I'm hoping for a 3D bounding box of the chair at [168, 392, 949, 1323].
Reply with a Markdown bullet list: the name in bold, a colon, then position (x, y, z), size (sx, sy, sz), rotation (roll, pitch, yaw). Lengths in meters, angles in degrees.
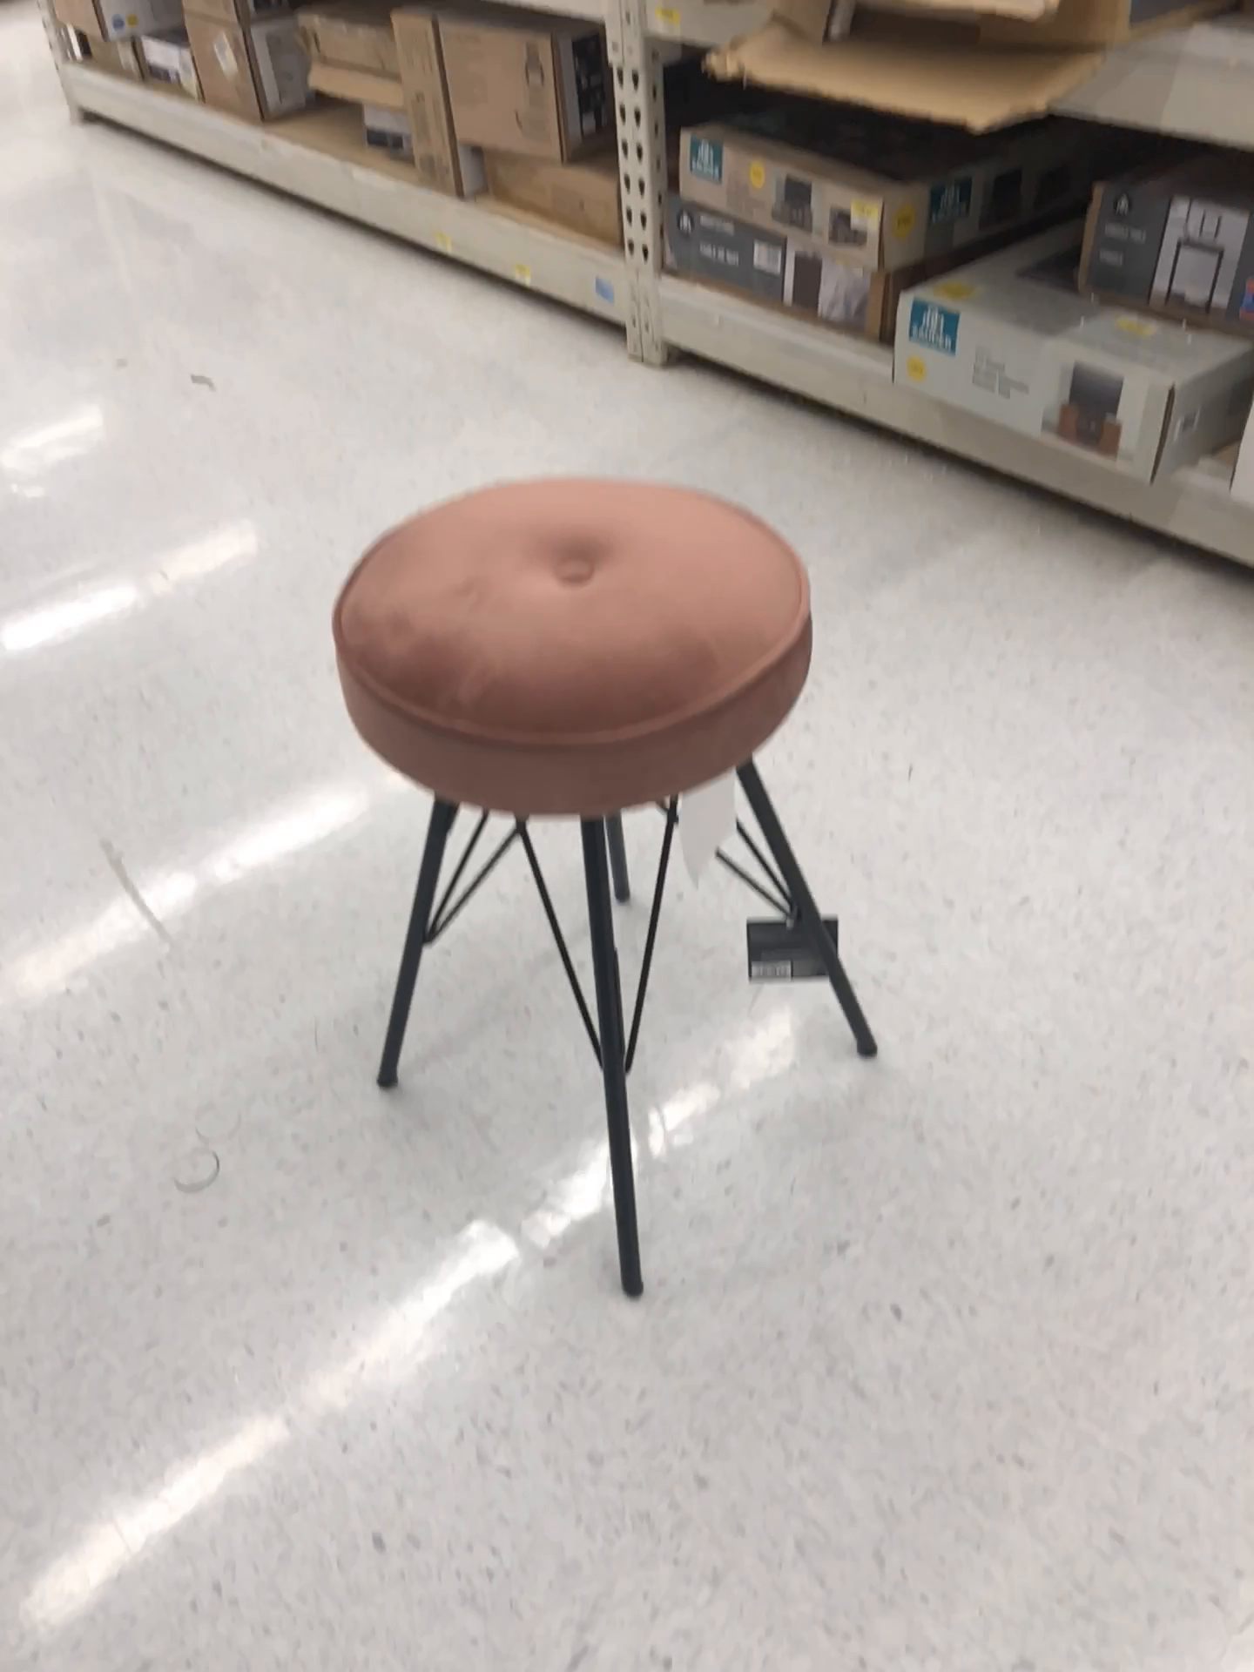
- **chair**: position (-0.027, 0.009, 1.046), size (0.351, 0.498, 0.361), rotation (31, 53, 34)
